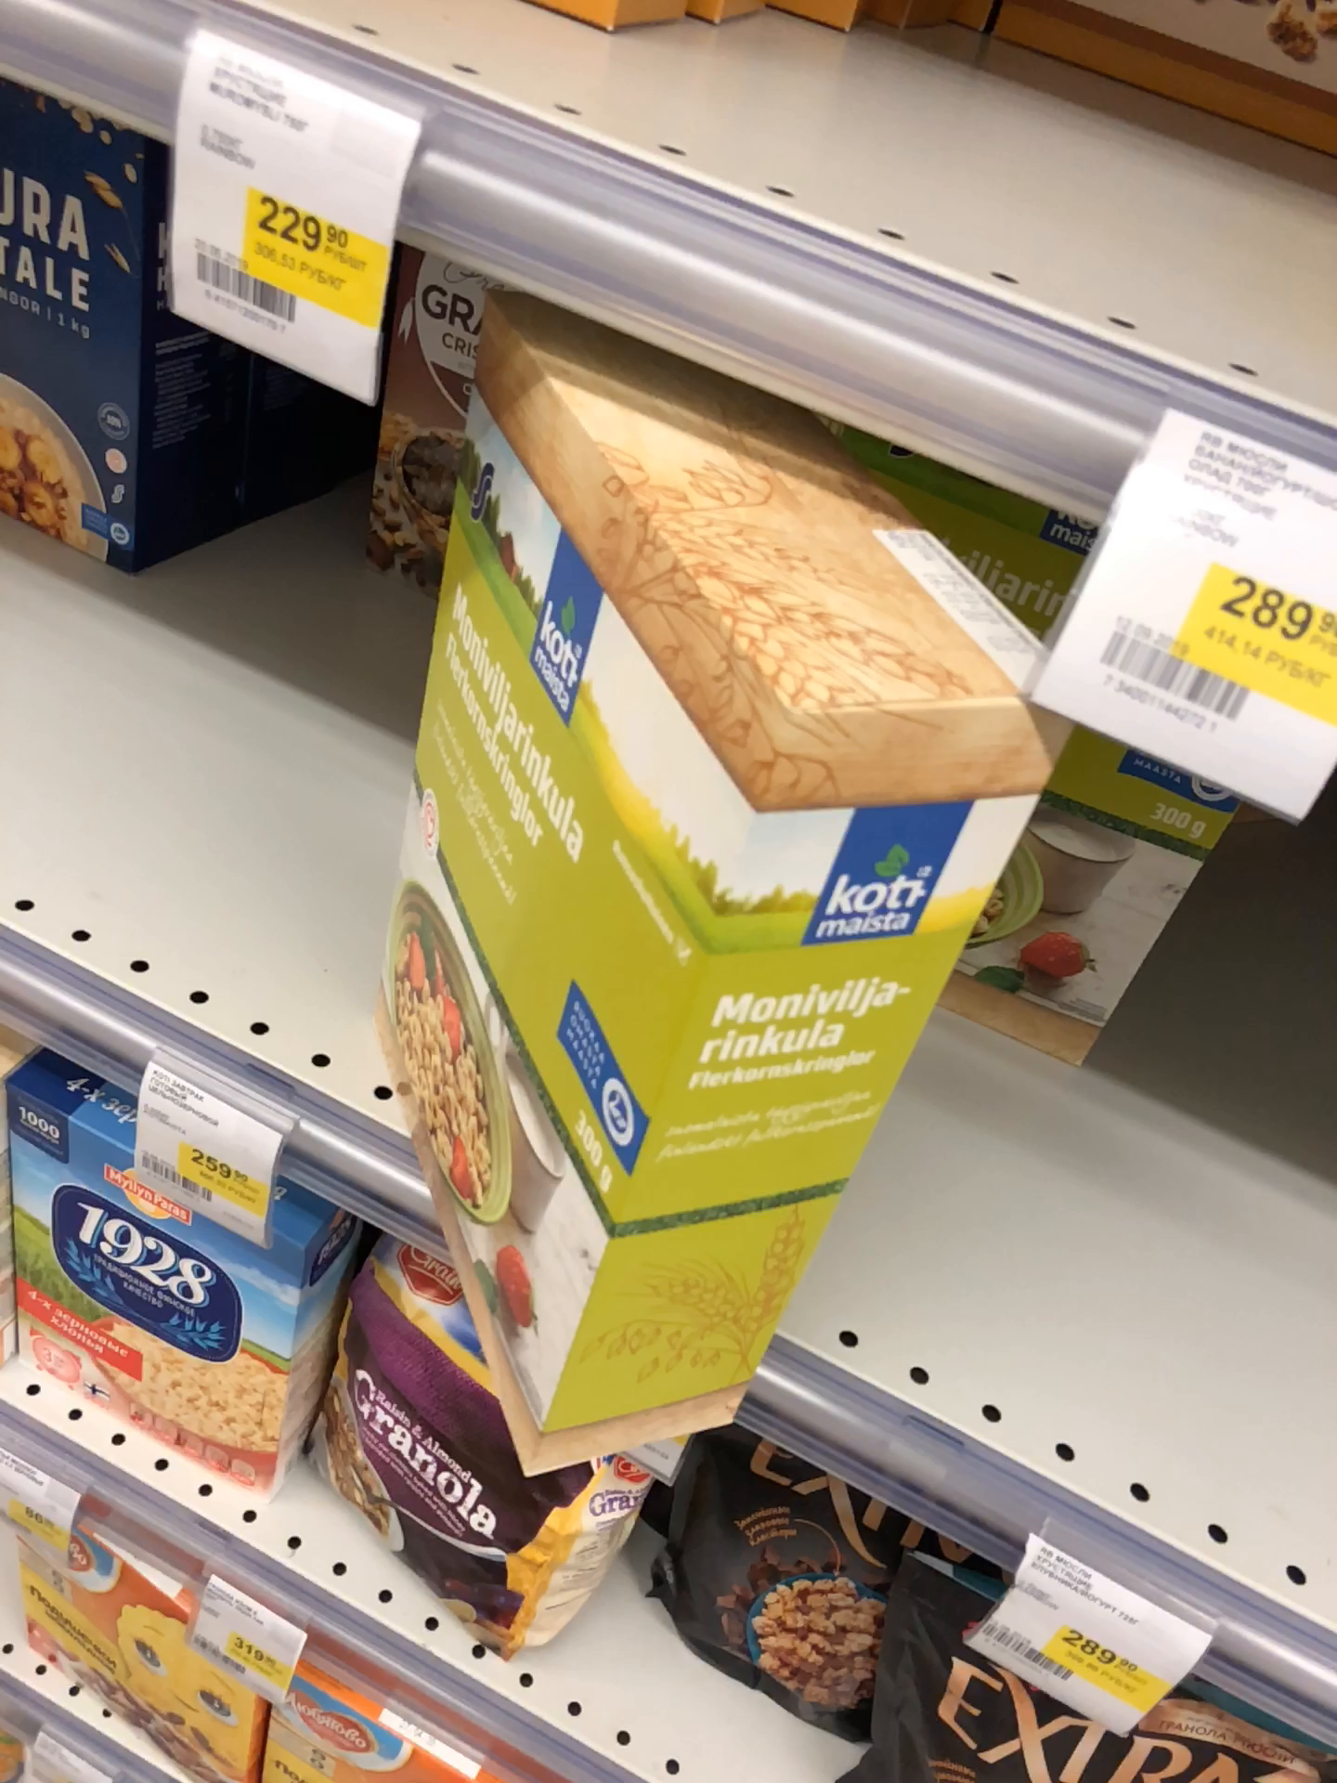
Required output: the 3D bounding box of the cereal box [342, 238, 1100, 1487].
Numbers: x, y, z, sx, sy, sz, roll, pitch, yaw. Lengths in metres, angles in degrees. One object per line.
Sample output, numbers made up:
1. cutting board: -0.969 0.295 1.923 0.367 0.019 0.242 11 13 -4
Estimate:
1. cereal box: -0.019 -0.003 0.392 0.070 0.258 0.191 -4 43 -25
